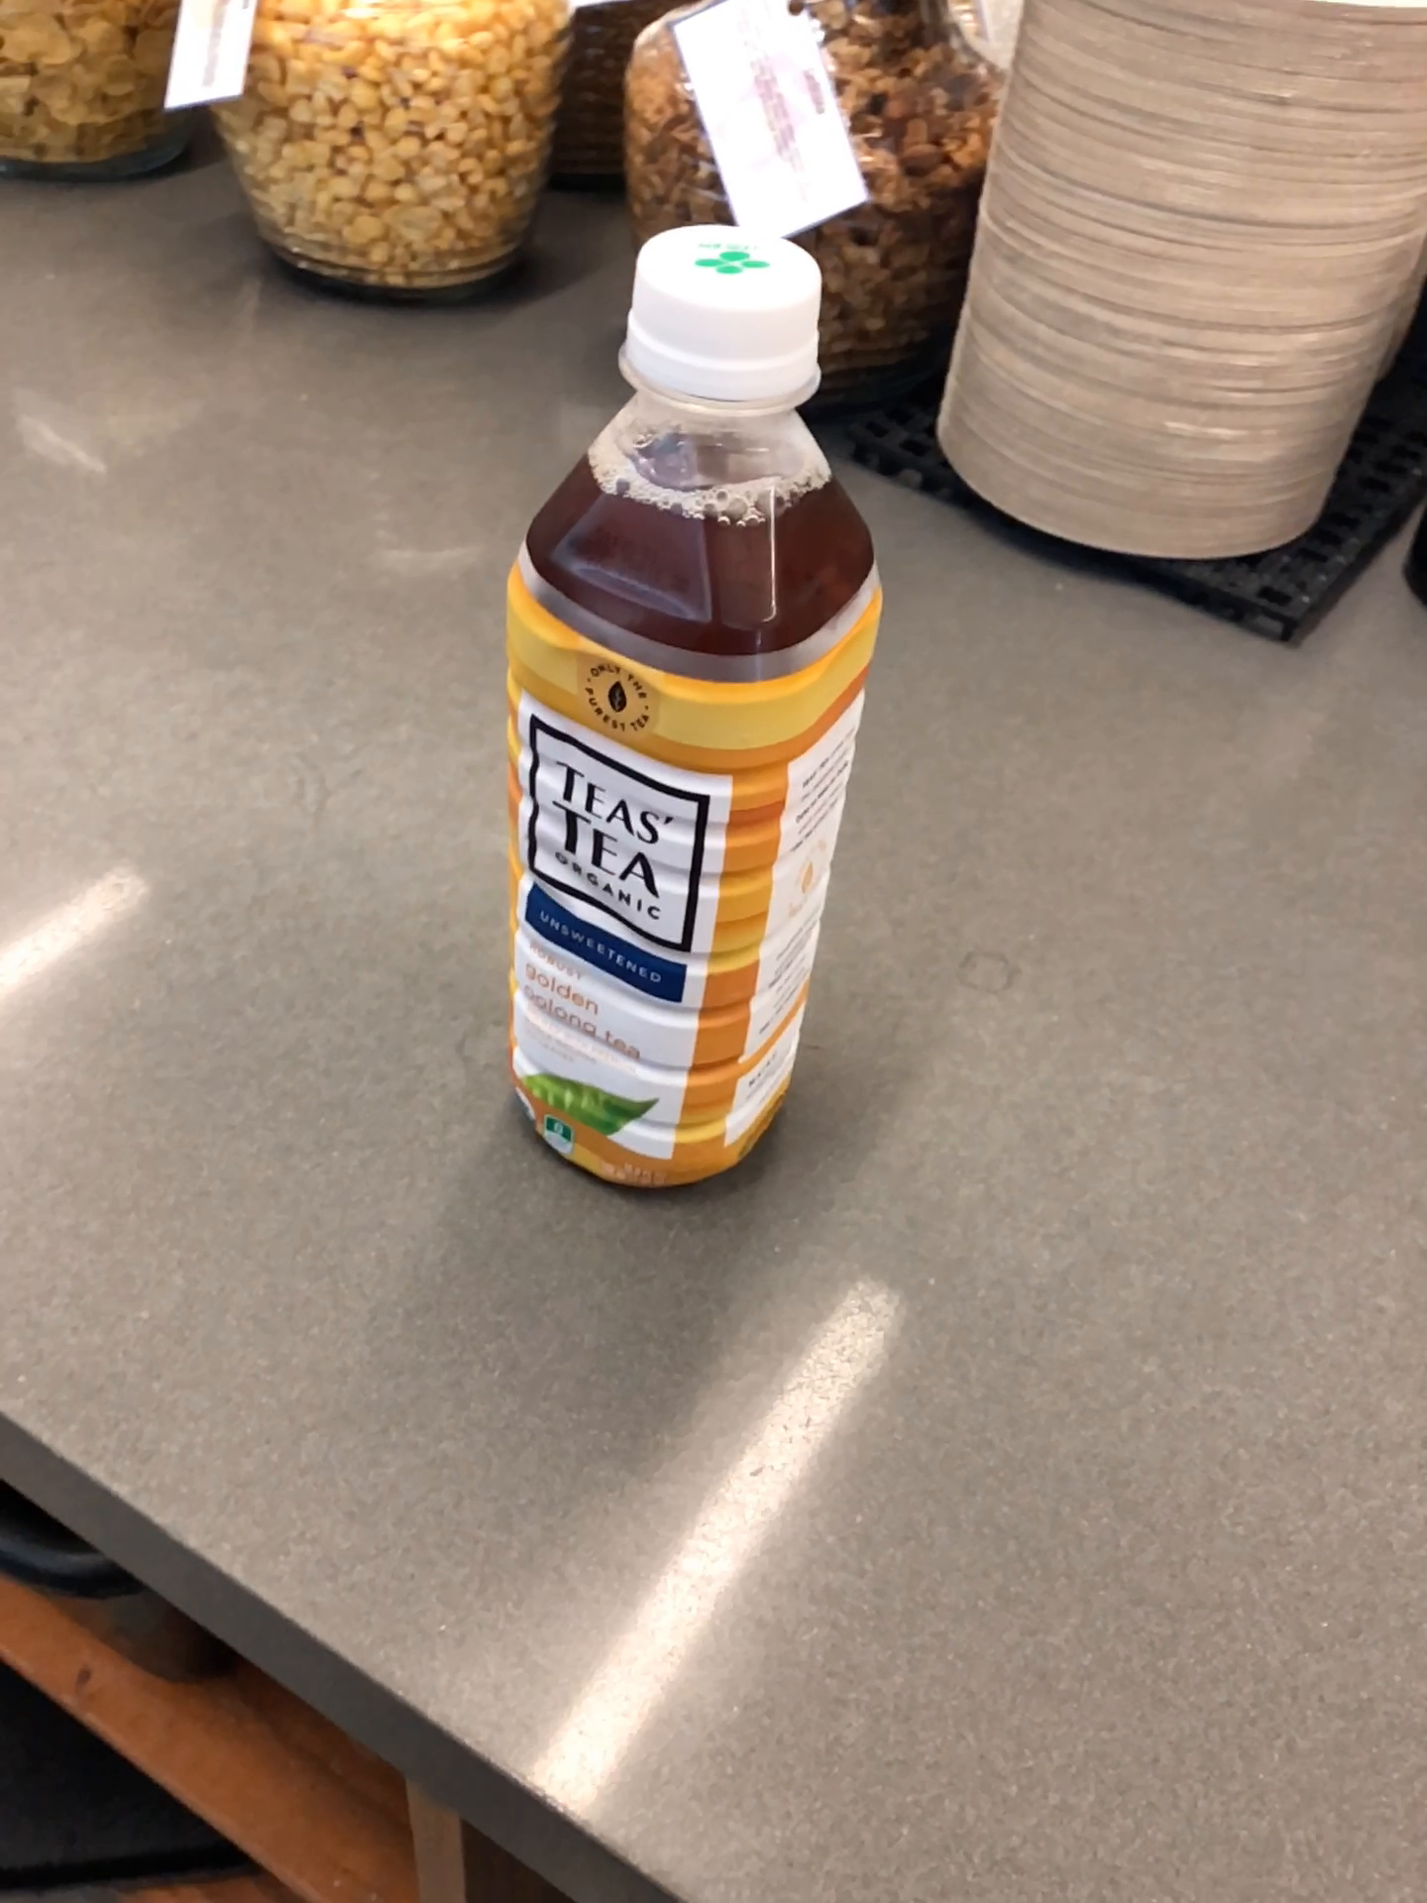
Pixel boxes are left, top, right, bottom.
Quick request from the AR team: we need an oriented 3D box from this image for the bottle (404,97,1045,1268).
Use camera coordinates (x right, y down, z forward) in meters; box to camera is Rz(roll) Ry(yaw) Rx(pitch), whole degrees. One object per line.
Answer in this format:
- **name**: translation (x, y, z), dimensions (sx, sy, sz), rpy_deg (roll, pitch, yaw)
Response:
- **bottle**: translation (-0.005, -0.038, 0.303), dimensions (0.070, 0.199, 0.070), rpy_deg (4, 44, -4)
